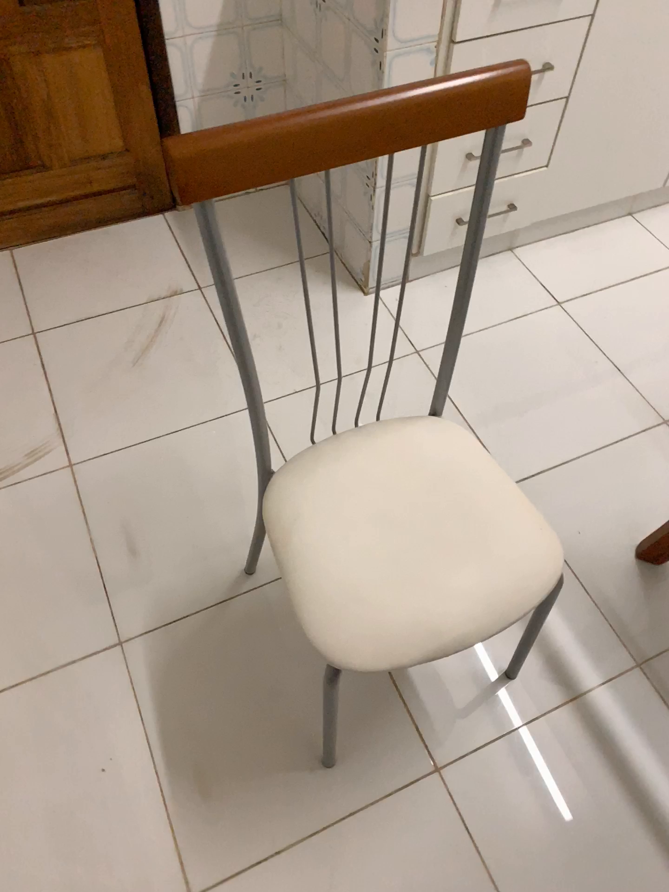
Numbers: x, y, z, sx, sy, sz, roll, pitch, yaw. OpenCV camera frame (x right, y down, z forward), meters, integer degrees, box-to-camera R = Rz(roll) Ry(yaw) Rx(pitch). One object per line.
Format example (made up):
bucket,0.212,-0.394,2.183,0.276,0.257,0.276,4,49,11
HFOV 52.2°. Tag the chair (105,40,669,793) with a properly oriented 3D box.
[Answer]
chair,0.086,0.051,0.964,0.480,0.887,0.511,-19,58,-15
